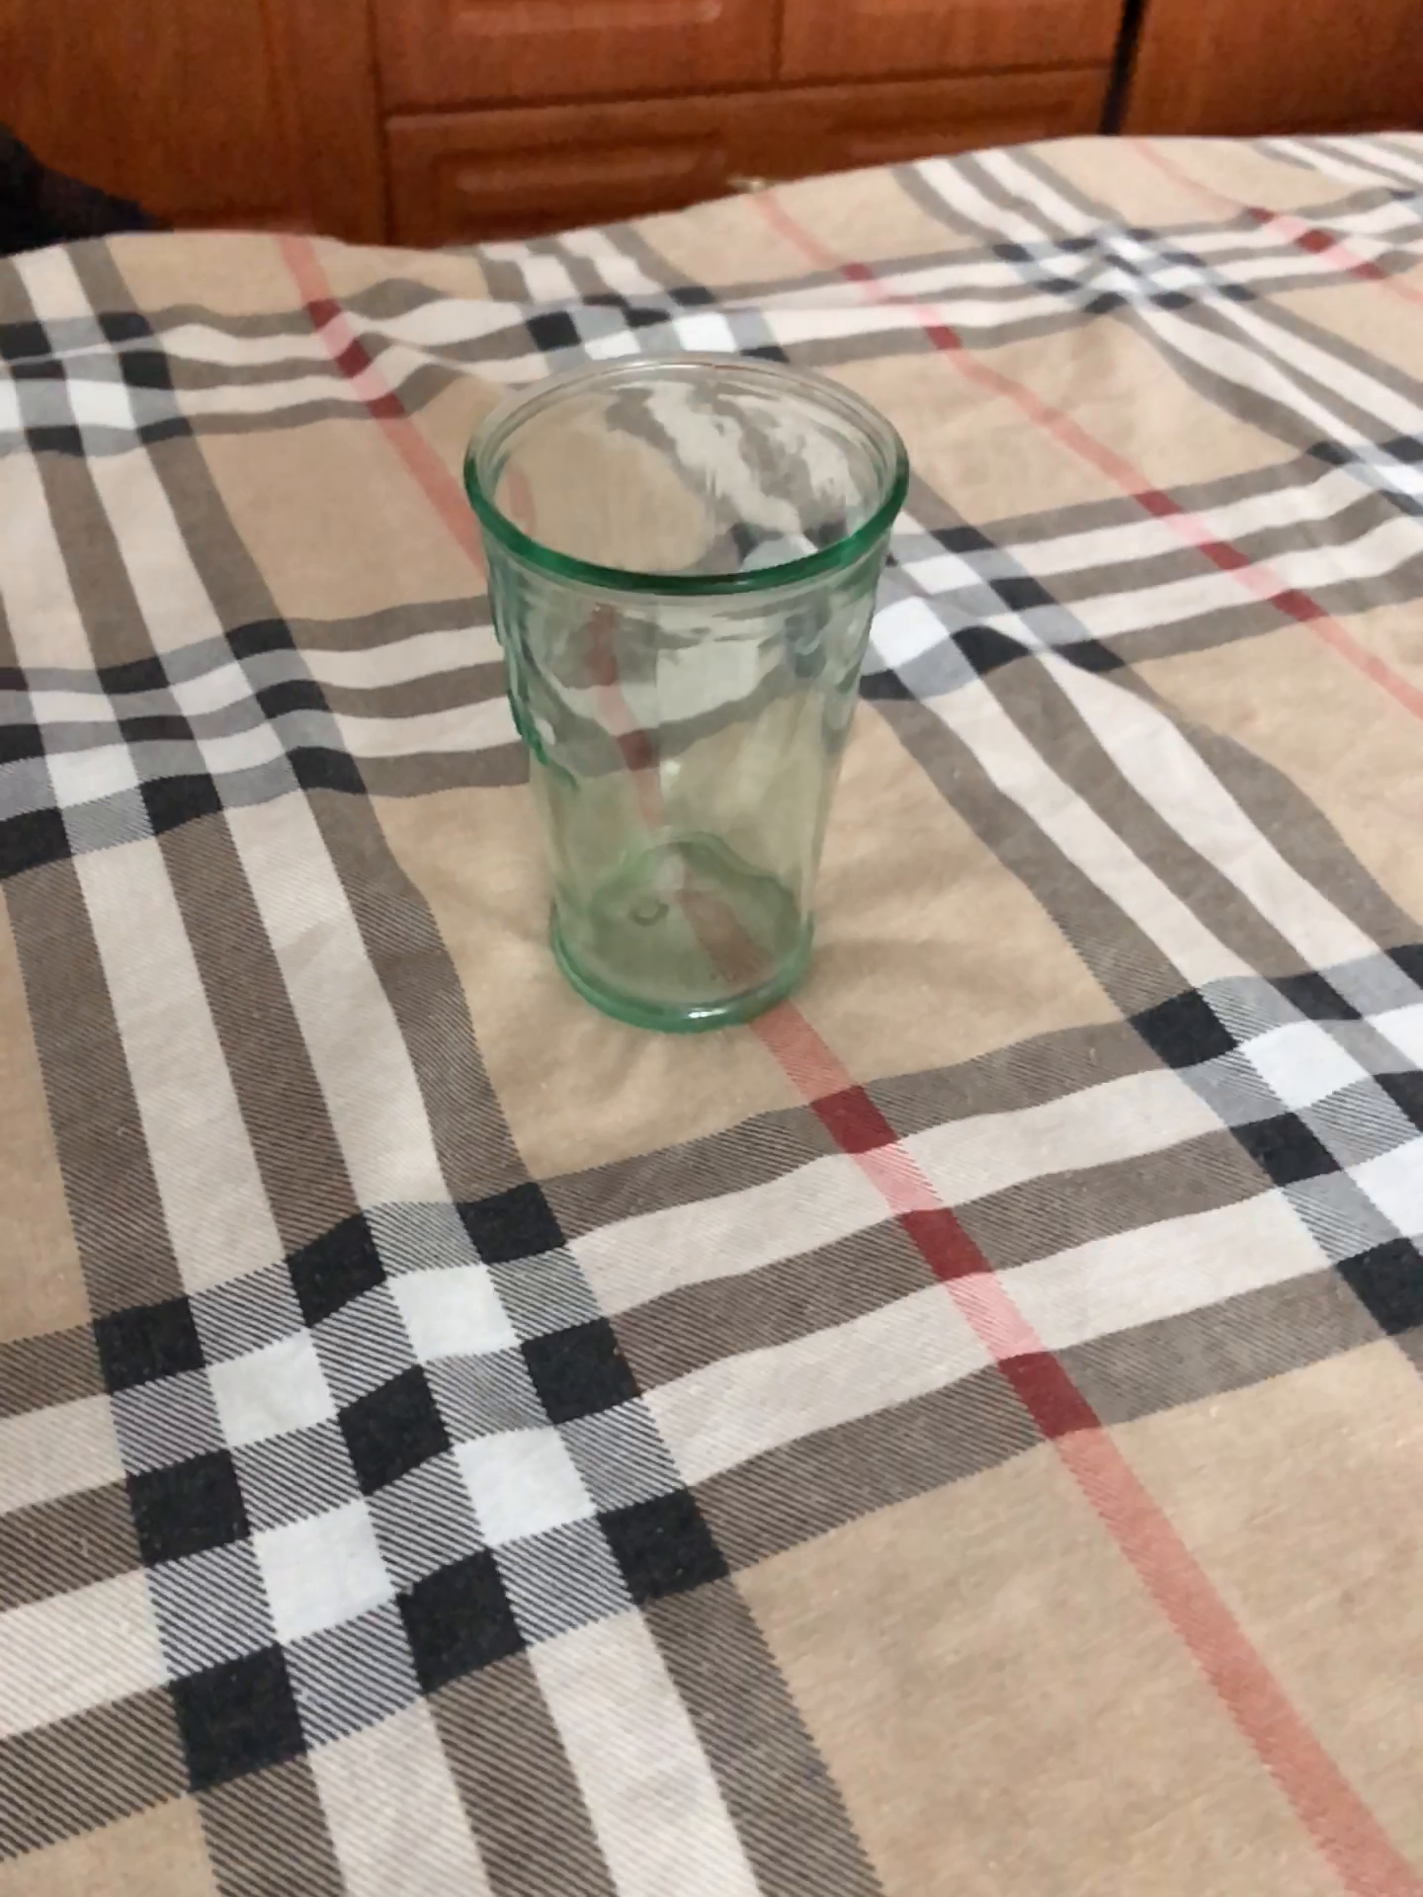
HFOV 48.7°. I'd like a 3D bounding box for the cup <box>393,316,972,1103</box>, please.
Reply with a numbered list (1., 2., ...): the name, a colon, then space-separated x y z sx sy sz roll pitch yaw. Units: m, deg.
1. cup: -0.004 -0.046 0.310 0.082 0.112 0.086 3 45 -3
